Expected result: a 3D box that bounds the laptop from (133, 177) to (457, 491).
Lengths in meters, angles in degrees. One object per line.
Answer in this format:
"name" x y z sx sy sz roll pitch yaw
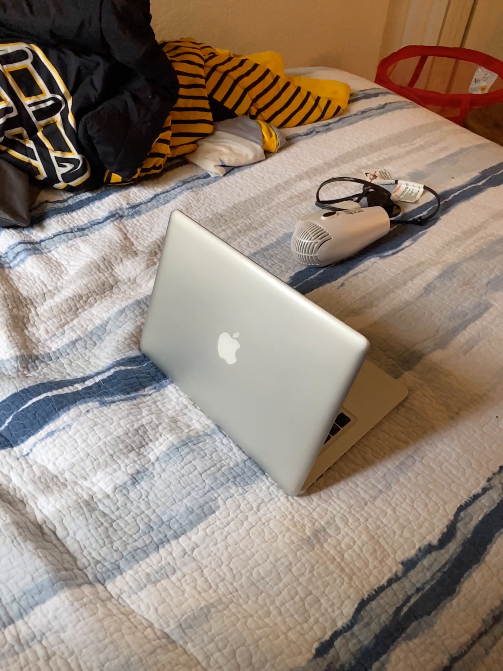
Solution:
"laptop" 0.037 -0.019 0.651 0.215 0.188 0.301 -32 55 -28
